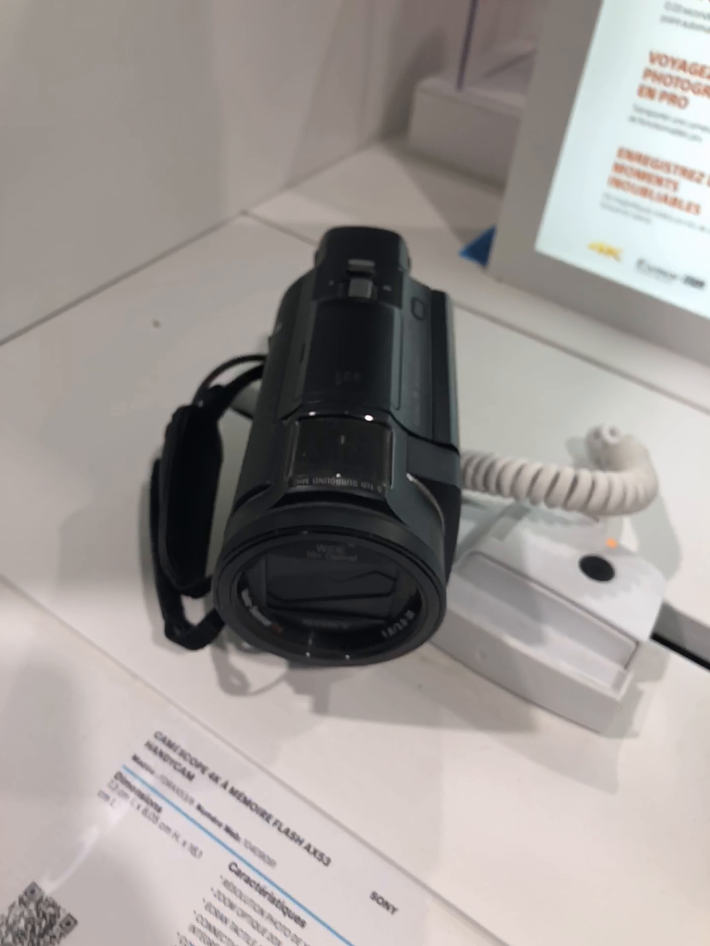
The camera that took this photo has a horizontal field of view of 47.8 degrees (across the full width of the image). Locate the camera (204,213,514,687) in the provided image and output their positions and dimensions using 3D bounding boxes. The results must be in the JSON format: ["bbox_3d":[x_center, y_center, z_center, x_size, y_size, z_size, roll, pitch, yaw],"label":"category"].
[{"bbox_3d":[0.000,-0.016,0.265,0.073,0.070,0.149,5,43,-2],"label":"camera"}]
